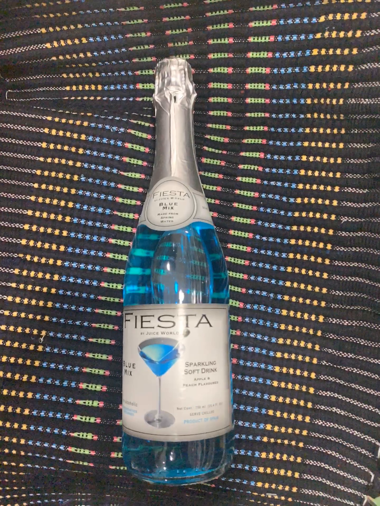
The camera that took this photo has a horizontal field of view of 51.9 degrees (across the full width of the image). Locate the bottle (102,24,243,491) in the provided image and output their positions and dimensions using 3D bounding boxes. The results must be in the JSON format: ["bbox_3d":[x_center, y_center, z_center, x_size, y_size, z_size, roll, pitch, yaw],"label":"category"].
[{"bbox_3d":[-0.007,-0.004,0.311,0.080,0.100,0.310,-3,79,11],"label":"bottle"}]
